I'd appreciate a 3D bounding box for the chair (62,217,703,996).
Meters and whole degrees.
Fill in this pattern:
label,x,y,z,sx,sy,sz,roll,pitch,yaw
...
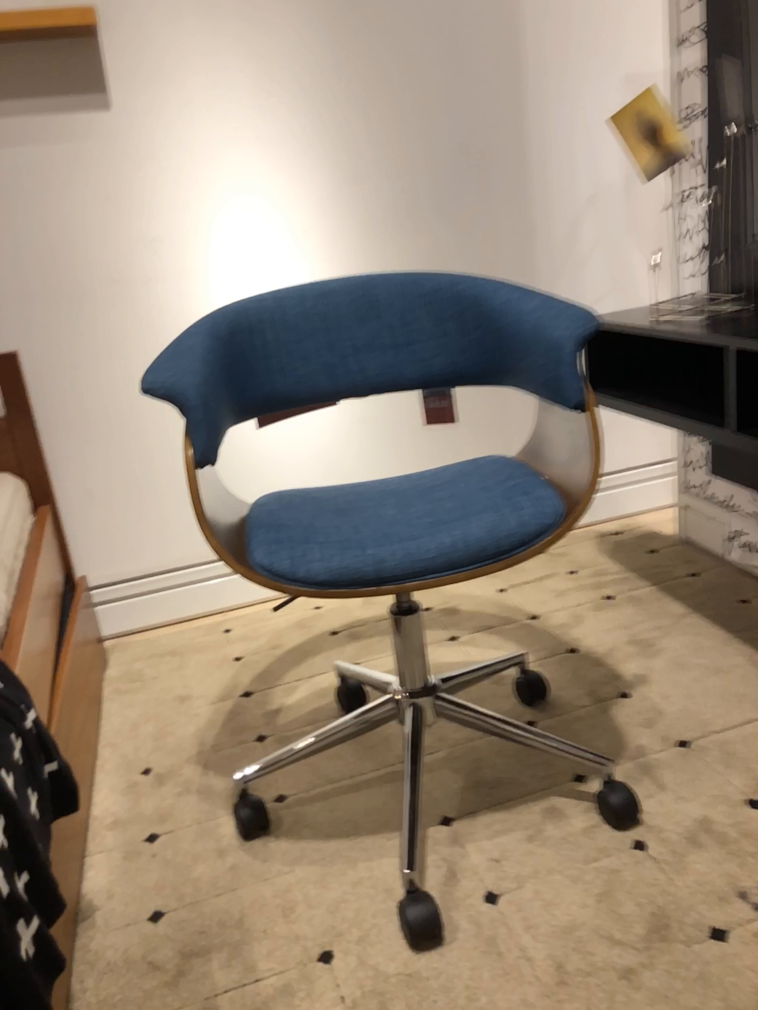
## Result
label,x,y,z,sx,sy,sz,roll,pitch,yaw
chair,-0.006,0.041,1.201,0.610,0.776,0.673,-11,18,-10
